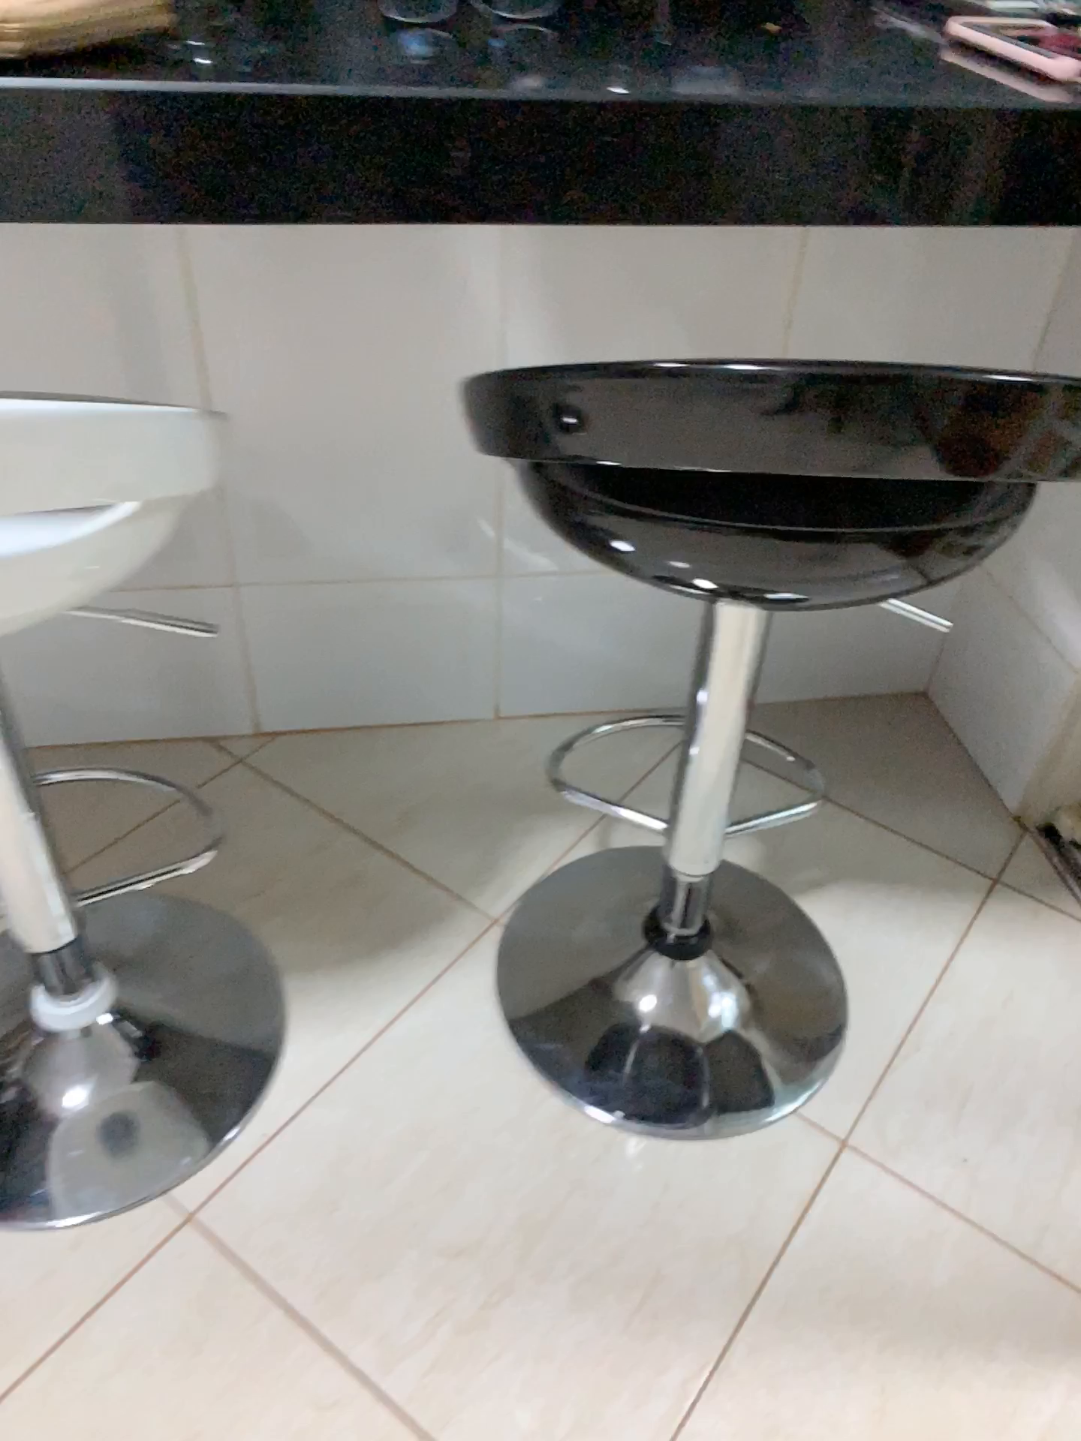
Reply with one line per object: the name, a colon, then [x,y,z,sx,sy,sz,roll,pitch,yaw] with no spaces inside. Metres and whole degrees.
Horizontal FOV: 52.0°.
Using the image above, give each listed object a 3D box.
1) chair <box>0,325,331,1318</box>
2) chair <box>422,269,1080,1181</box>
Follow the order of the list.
chair: [-0.454,0.079,0.882,0.510,0.634,0.414,-4,39,-9]
chair: [0.164,0.015,0.990,0.520,0.664,0.444,-1,39,-5]
